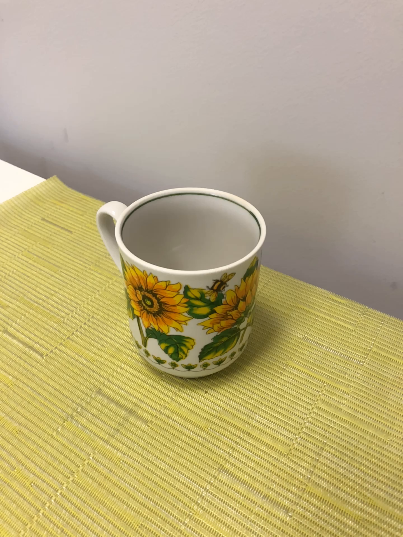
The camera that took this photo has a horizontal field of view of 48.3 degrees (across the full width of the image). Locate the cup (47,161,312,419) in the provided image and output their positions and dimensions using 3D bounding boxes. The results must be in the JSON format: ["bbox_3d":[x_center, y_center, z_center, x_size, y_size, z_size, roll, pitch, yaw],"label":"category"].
[{"bbox_3d":[-0.013,0.005,0.273,0.116,0.084,0.088,27,44,28],"label":"cup"}]
